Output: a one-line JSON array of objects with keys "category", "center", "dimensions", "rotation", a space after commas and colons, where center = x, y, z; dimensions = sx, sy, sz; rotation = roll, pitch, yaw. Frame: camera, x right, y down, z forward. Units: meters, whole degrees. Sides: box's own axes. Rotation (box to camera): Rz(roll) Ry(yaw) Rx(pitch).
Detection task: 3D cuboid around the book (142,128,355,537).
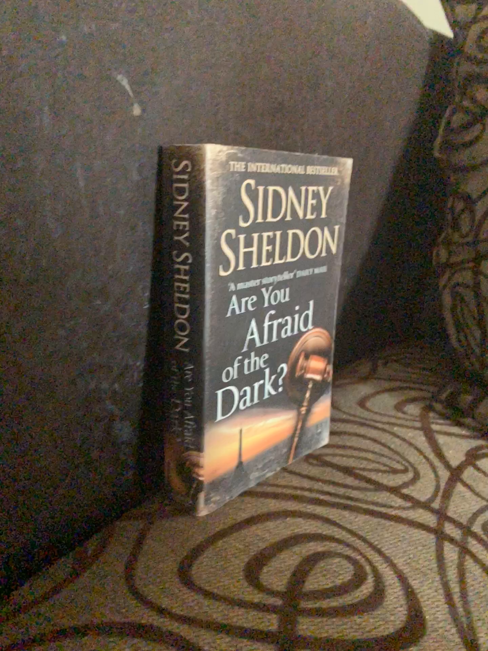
[{"category": "book", "center": [0.006, -0.002, 0.276], "dimensions": [0.040, 0.179, 0.120], "rotation": [12, 15, 36]}]
